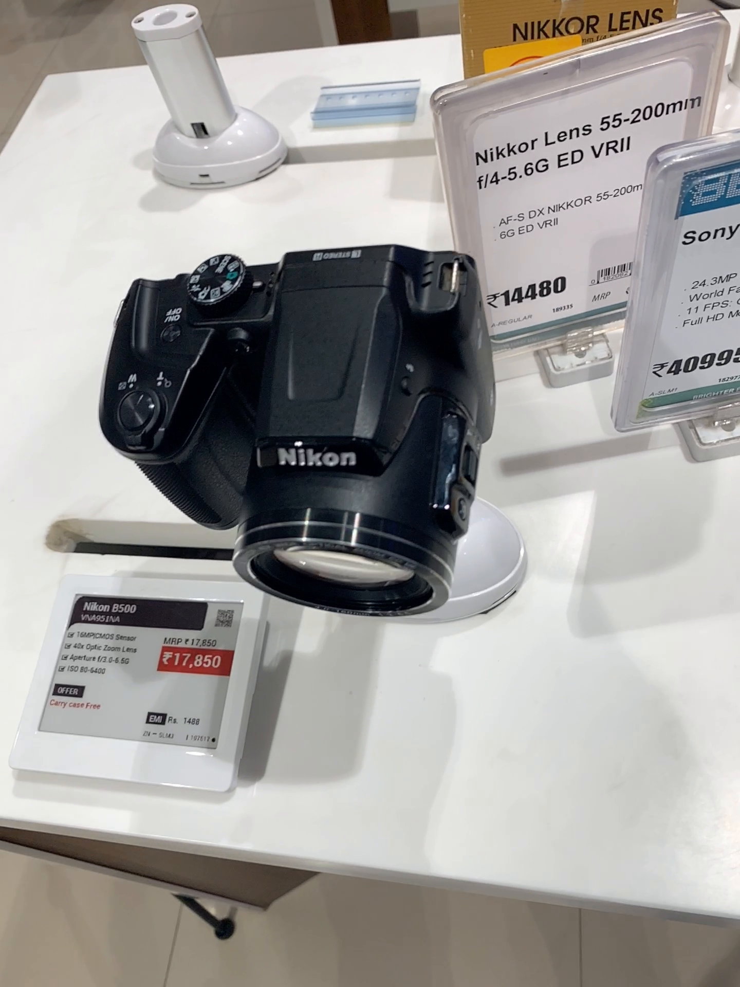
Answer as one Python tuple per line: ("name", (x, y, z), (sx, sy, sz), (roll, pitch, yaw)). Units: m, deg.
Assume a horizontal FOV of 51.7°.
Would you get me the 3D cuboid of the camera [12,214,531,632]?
("camera", (-0.015, -0.016, 0.209), (0.113, 0.070, 0.083), (2, 65, 12))
